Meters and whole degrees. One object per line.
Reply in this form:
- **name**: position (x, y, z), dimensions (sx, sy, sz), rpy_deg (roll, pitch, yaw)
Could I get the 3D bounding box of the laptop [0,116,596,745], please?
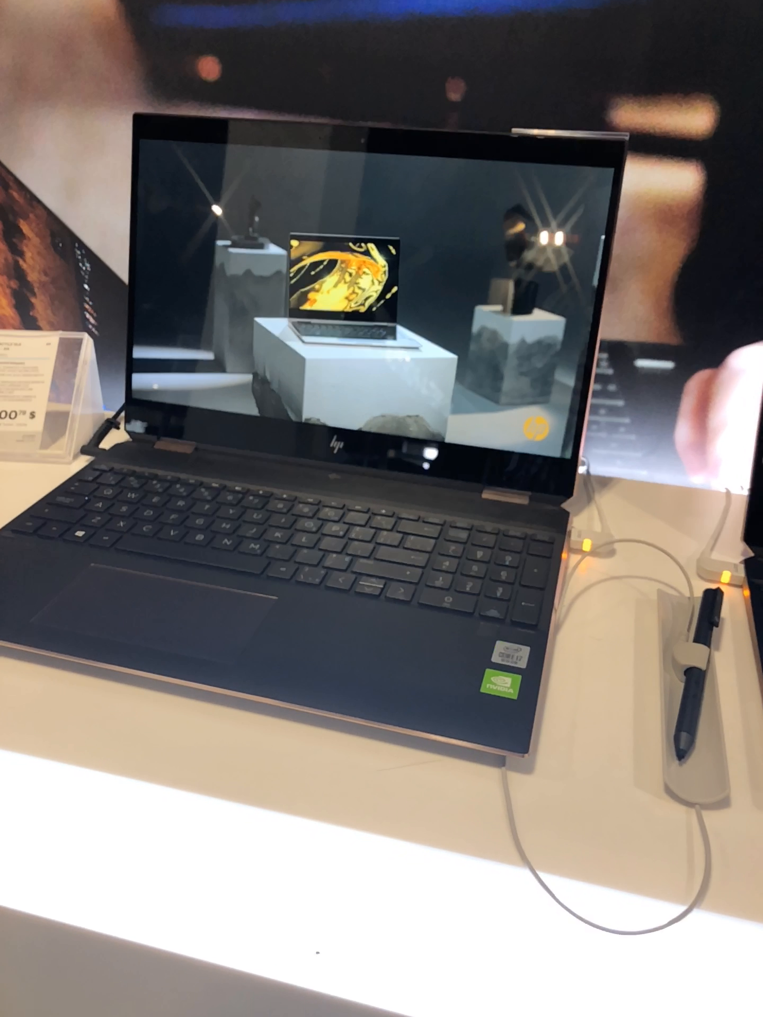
- **laptop**: position (-0.059, -0.090, 0.504), dimensions (0.333, 0.226, 0.323), rpy_deg (9, 28, 11)
